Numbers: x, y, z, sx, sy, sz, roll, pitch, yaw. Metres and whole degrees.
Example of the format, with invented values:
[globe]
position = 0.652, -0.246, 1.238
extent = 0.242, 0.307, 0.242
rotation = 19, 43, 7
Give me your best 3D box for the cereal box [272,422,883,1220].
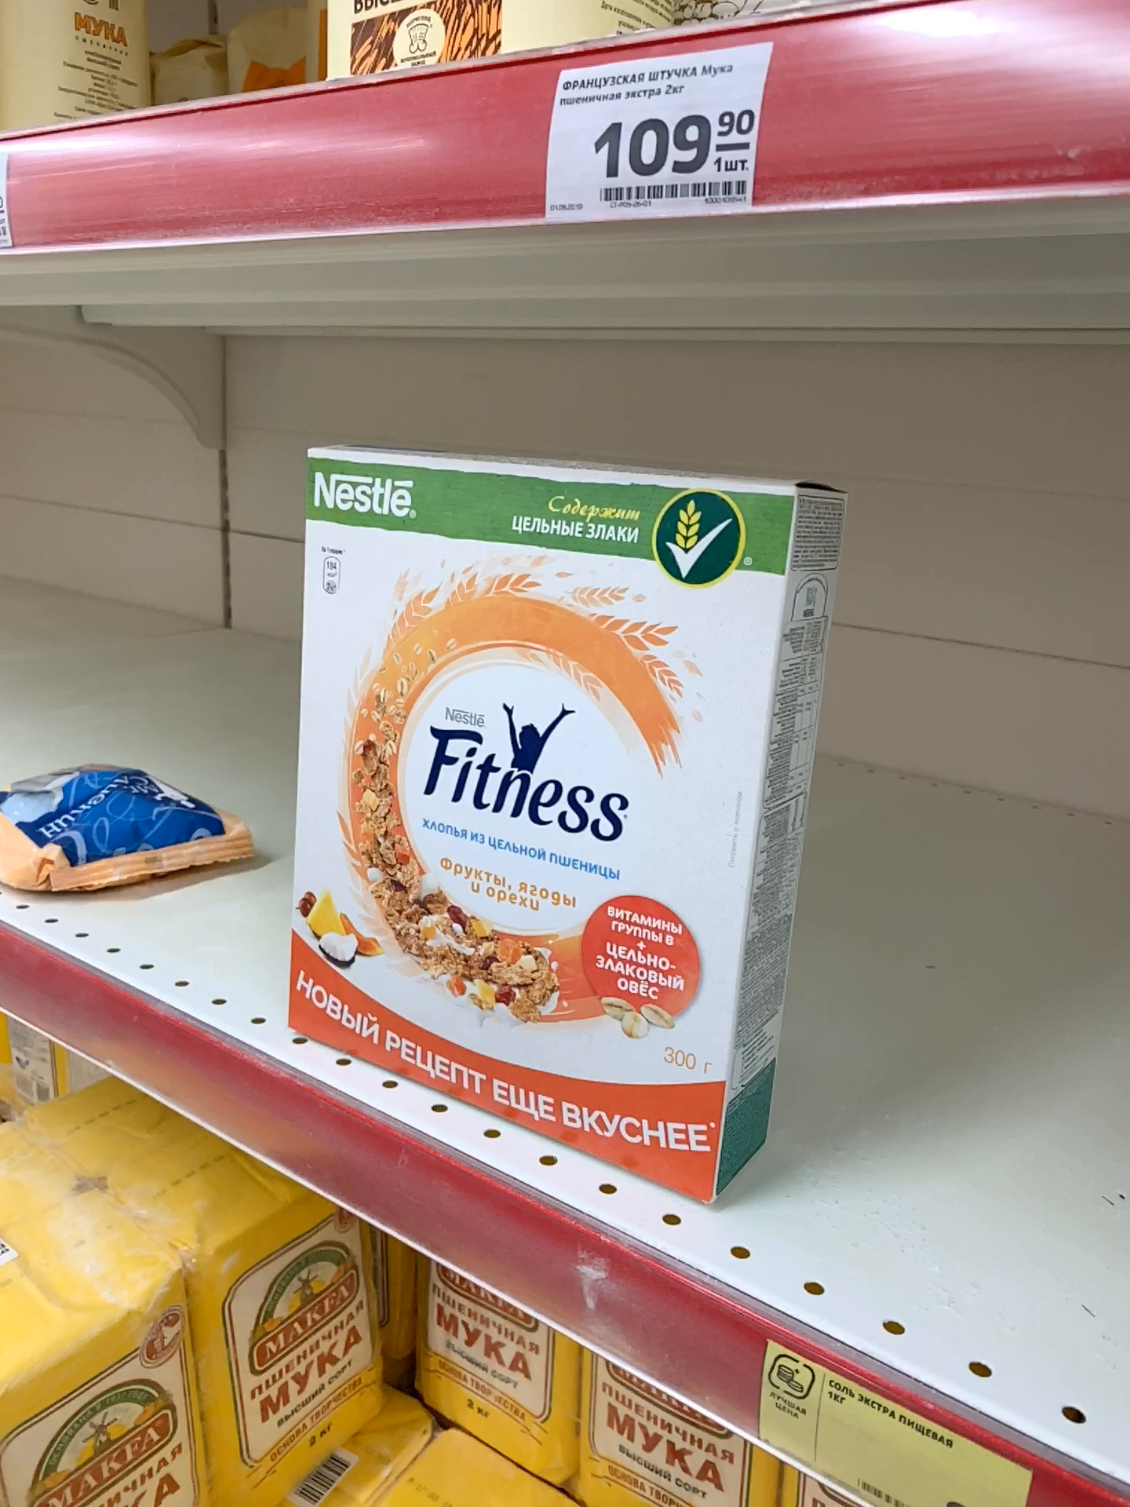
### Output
[cereal box]
position = -0.008, 0.009, 0.428
extent = 0.200, 0.239, 0.060
rotation = 13, 13, 31
